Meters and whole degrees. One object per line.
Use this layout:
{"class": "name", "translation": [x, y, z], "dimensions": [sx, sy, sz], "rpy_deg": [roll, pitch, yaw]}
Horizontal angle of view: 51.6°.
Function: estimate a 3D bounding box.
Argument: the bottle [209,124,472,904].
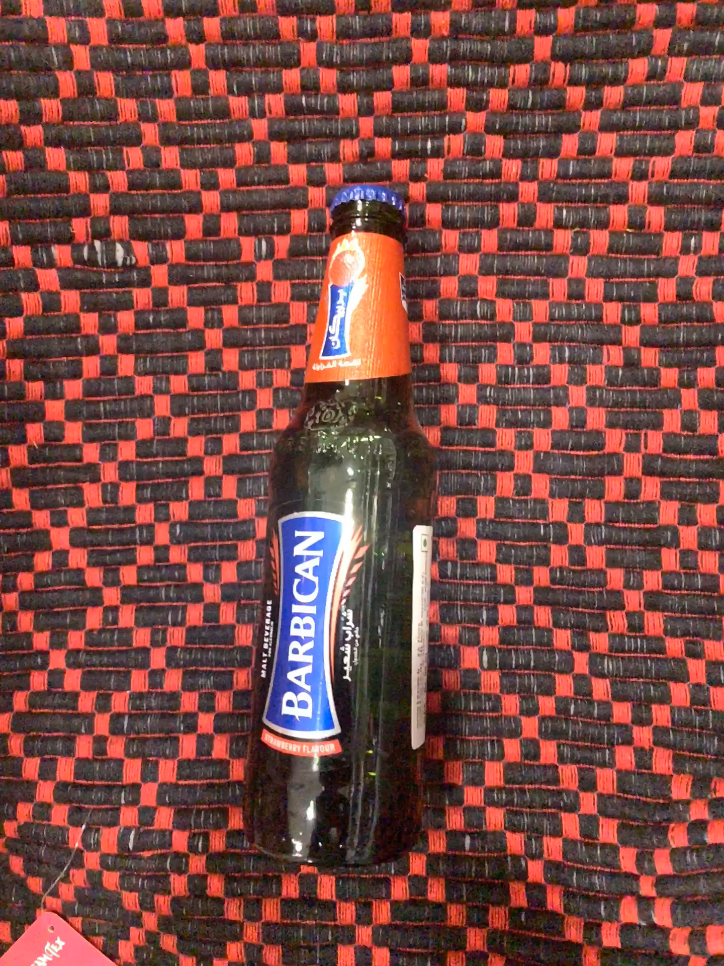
{"class": "bottle", "translation": [-0.001, 0.006, 0.253], "dimensions": [0.060, 0.070, 0.220], "rpy_deg": [-2, 81, 21]}
